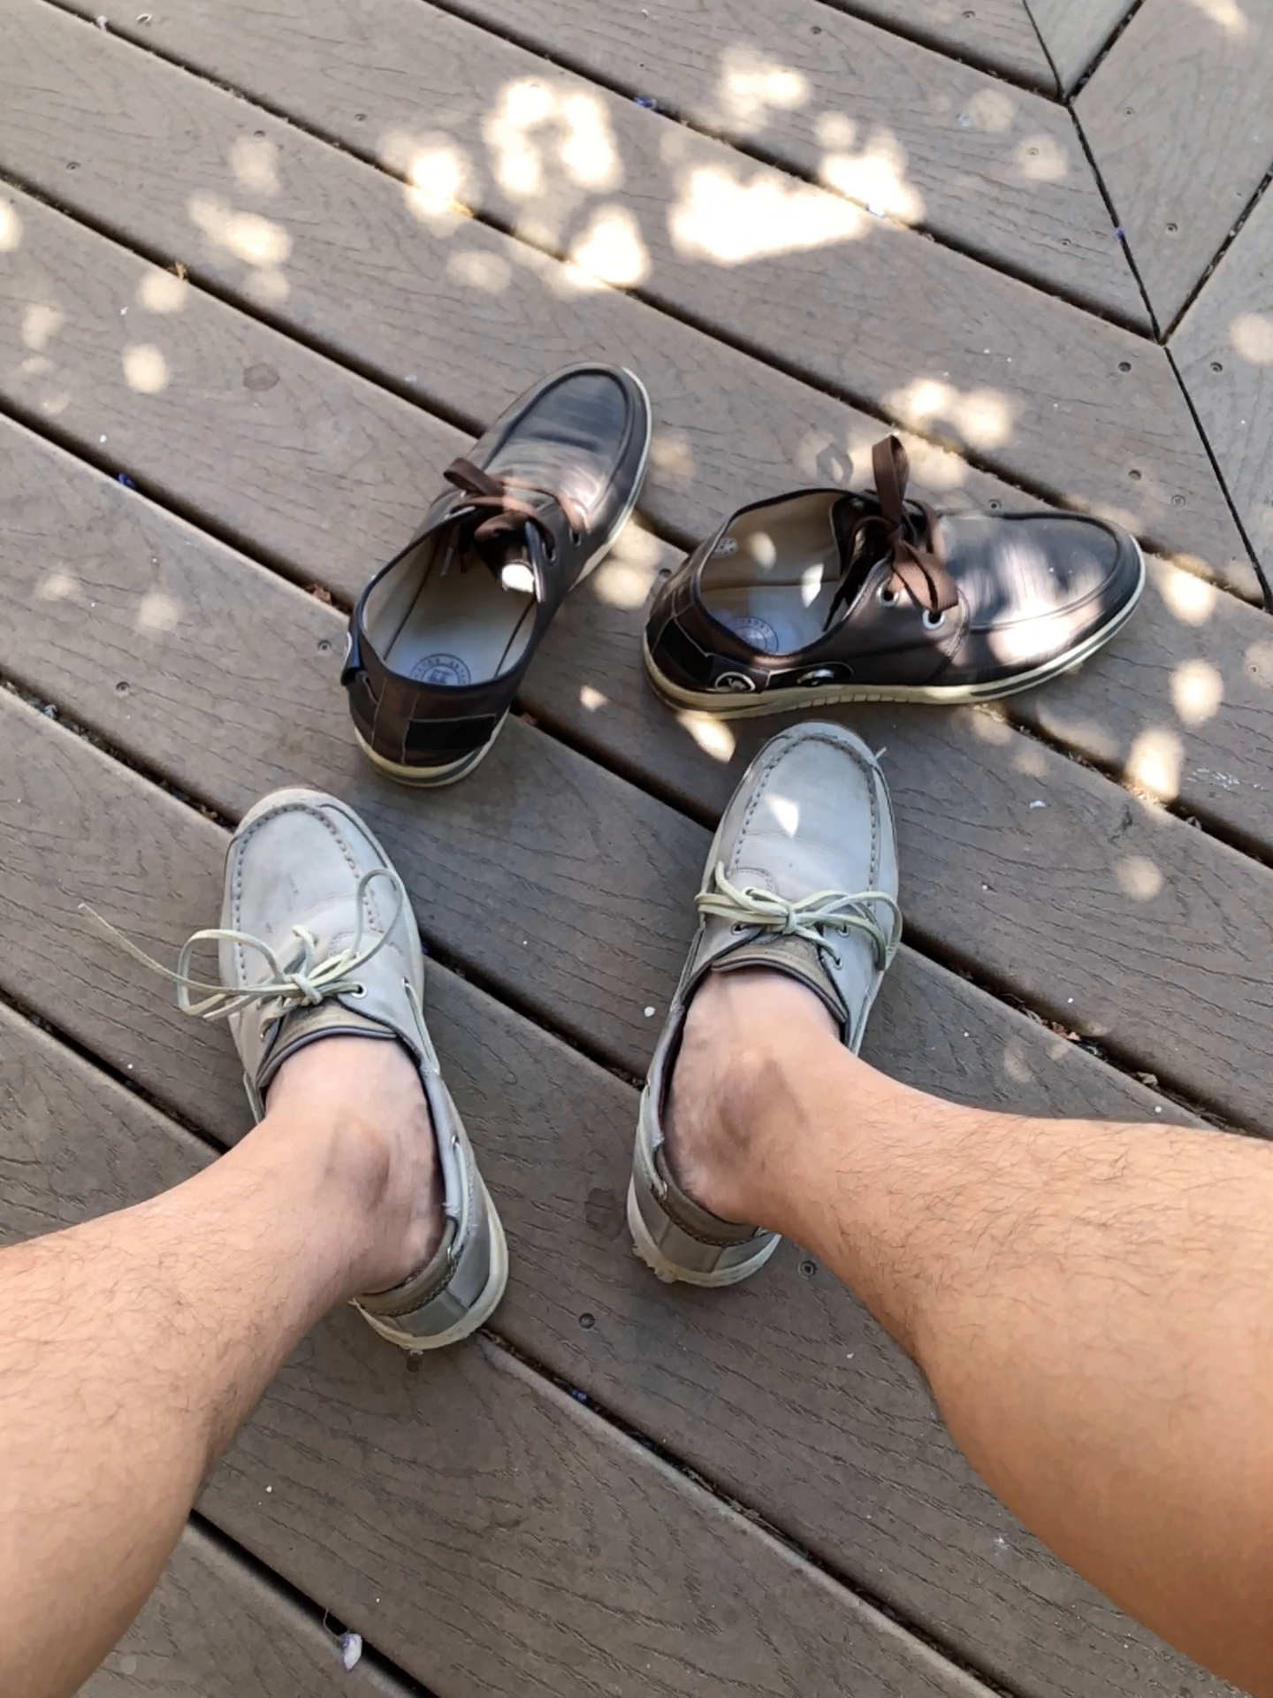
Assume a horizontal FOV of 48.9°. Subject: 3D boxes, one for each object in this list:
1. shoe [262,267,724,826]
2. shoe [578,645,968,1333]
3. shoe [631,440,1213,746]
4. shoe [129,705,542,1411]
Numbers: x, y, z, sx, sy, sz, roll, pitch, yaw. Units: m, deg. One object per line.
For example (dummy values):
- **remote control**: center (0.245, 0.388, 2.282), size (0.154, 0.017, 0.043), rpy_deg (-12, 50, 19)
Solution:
- **shoe**: center (-0.068, -0.164, 0.748), size (0.109, 0.069, 0.279), rpy_deg (27, 75, 9)
- **shoe**: center (0.066, 0.066, 0.667), size (0.109, 0.101, 0.293), rpy_deg (14, 71, 5)
- **shoe**: center (0.141, -0.134, 0.741), size (0.277, 0.079, 0.109), rpy_deg (-6, 70, -1)
- **shoe**: center (-0.141, 0.093, 0.655), size (0.109, 0.086, 0.293), rpy_deg (-17, 71, -6)
